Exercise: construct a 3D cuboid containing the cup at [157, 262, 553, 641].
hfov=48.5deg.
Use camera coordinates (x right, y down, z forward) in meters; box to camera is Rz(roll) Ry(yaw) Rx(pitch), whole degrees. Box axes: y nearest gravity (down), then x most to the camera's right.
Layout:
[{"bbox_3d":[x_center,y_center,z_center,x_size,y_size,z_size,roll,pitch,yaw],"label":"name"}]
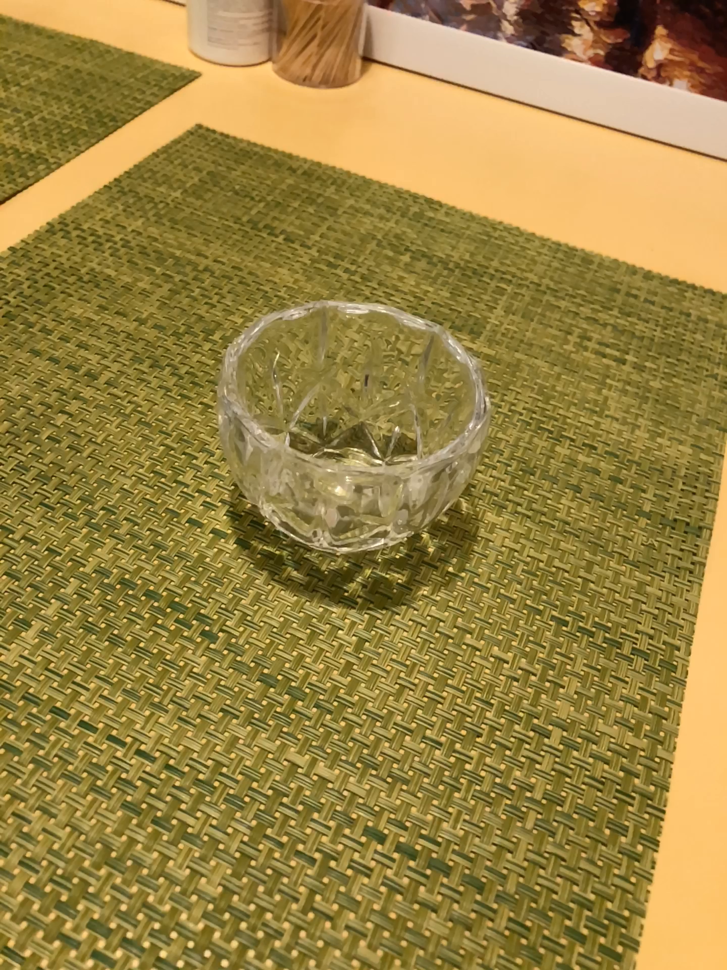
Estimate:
[{"bbox_3d":[-0.002,-0.014,0.229,0.072,0.045,0.080,33,50,20],"label":"cup"}]
